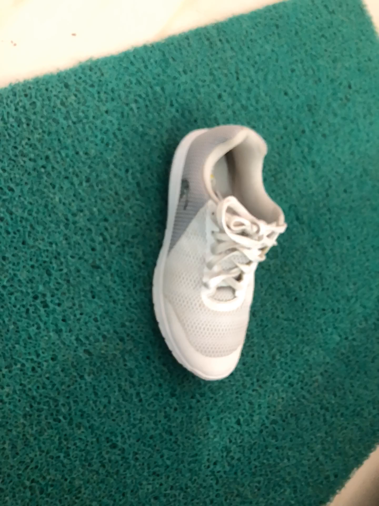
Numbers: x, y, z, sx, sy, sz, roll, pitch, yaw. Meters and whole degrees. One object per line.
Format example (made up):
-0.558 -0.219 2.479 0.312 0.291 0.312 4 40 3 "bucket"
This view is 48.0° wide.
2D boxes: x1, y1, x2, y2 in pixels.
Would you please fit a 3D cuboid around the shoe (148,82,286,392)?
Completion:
0.029 -0.011 0.460 0.101 0.100 0.290 7 81 -27 "shoe"
